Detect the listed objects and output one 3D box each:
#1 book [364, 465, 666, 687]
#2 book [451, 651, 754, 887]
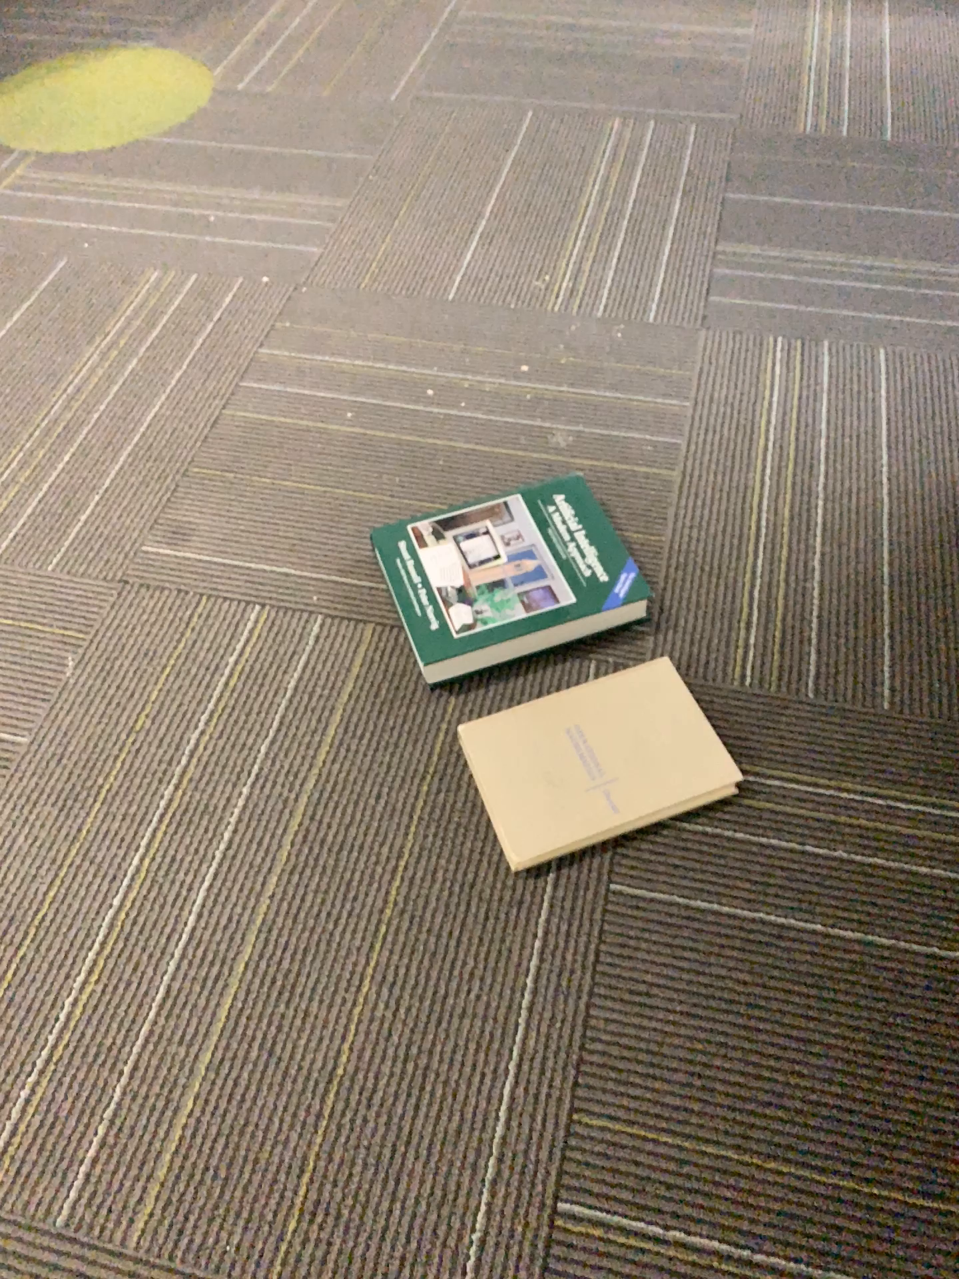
[{"bbox_3d":[0.034,-0.081,1.117,0.276,0.030,0.223,-17,53,-11],"label":"book"},{"bbox_3d":[0.114,0.118,0.959,0.240,0.030,0.171,-17,53,-11],"label":"book"}]
